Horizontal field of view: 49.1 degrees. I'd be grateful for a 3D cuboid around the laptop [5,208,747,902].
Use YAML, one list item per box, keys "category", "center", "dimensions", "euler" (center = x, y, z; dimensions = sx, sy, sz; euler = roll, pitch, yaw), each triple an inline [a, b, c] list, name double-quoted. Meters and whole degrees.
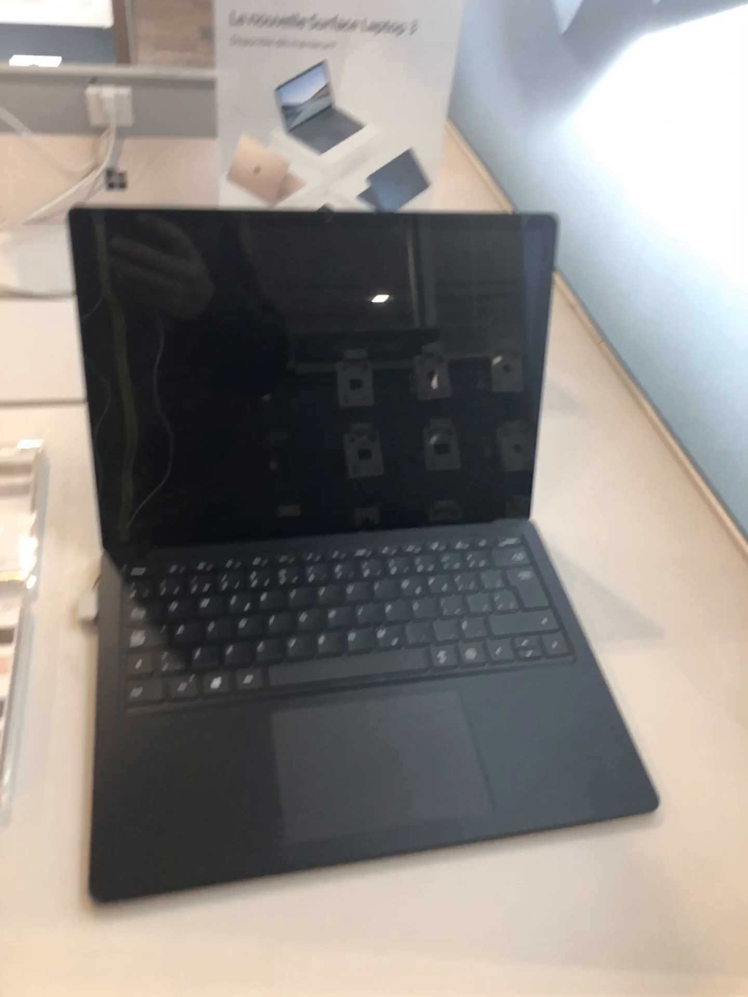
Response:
- category: "laptop"
  center: [-0.008, 0.002, 0.468]
  dimensions: [0.308, 0.197, 0.314]
  euler: [-4, 45, -13]
